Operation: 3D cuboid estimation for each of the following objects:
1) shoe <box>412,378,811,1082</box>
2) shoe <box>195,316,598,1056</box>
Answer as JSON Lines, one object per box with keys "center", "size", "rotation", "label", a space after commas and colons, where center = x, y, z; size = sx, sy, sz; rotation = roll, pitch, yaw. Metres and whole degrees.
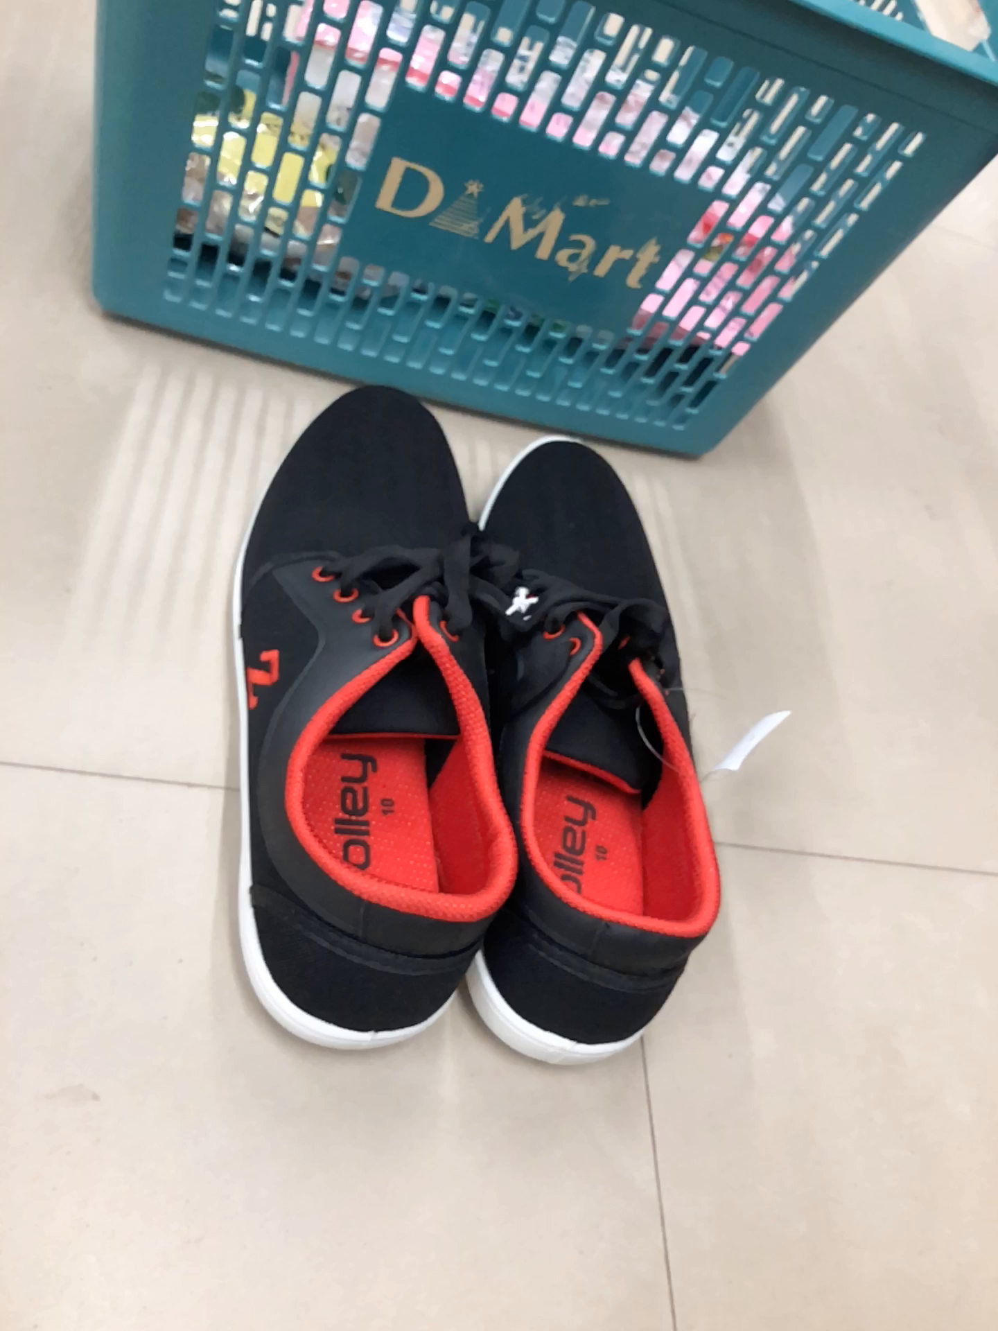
{"center": [0.039, 0.021, 0.466], "size": [0.105, 0.102, 0.261], "rotation": [15, 54, -18], "label": "shoe"}
{"center": [-0.049, 0.005, 0.433], "size": [0.105, 0.102, 0.261], "rotation": [8, 56, -22], "label": "shoe"}
